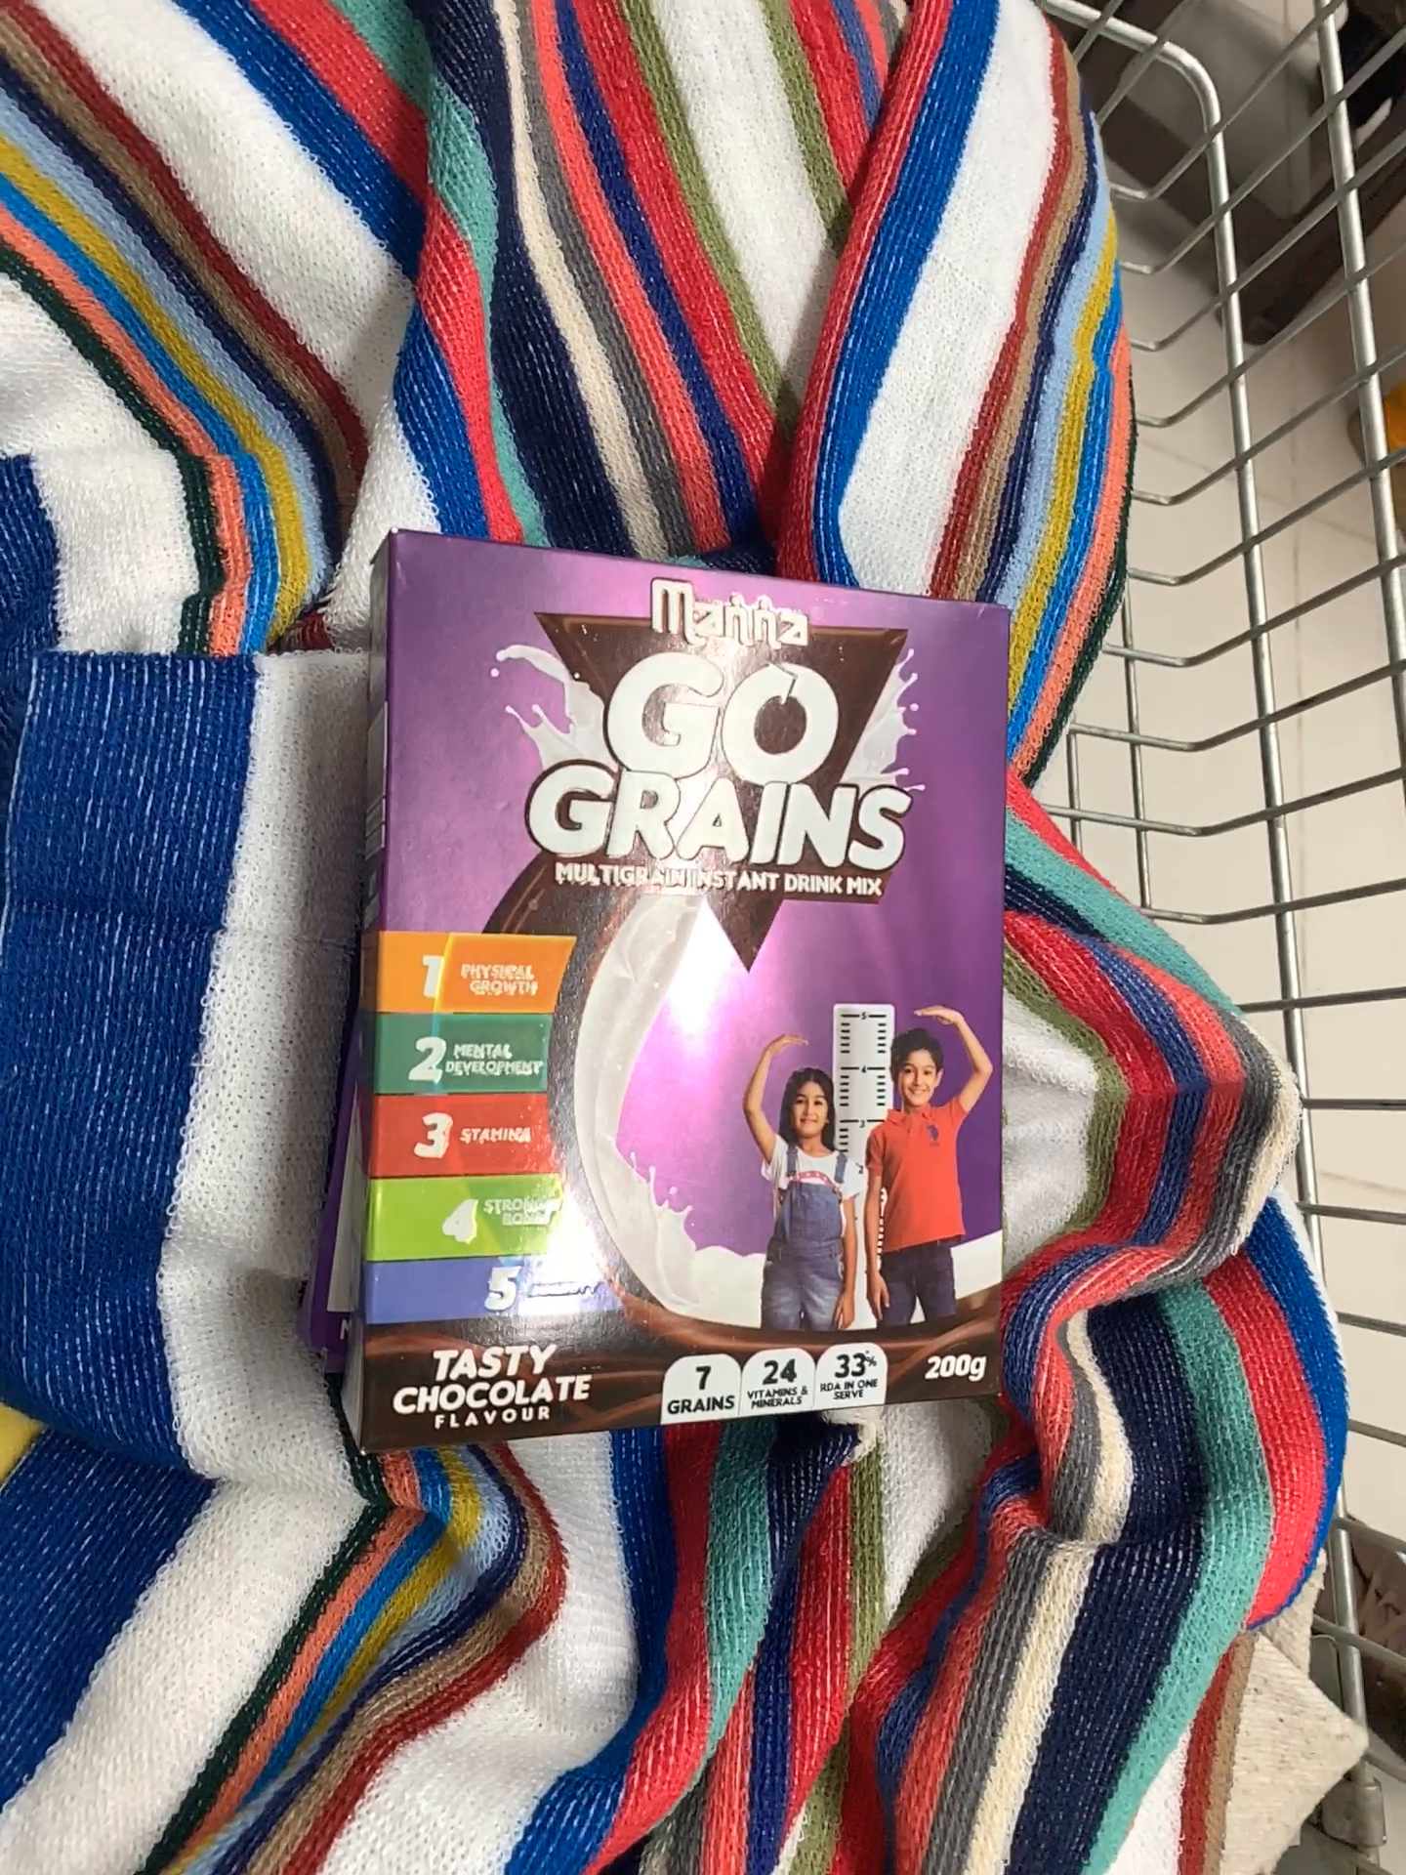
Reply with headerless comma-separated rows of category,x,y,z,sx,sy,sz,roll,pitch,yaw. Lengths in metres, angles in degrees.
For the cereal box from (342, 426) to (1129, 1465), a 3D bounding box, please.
cereal box,0.008,0.004,0.286,0.140,0.050,0.170,3,89,-22
